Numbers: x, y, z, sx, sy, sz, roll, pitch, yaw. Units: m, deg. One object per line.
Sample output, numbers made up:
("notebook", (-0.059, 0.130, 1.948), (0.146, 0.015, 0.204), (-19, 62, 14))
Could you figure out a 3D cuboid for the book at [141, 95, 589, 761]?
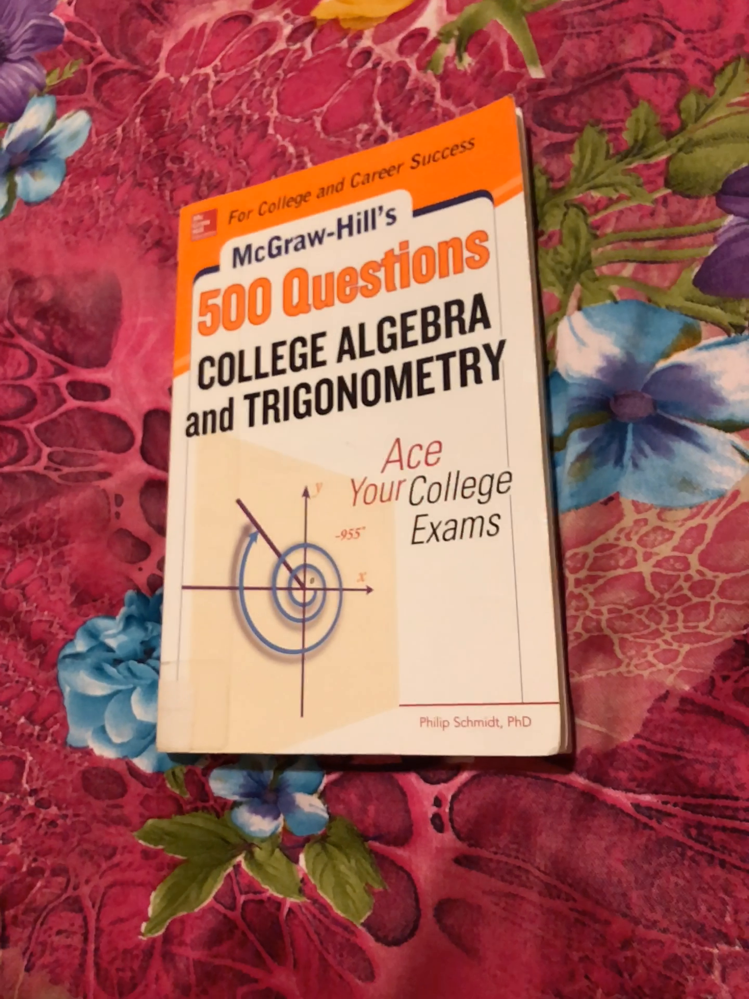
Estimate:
("book", (-0.010, -0.022, 0.306), (0.156, 0.022, 0.220), (-7, 76, 24))
